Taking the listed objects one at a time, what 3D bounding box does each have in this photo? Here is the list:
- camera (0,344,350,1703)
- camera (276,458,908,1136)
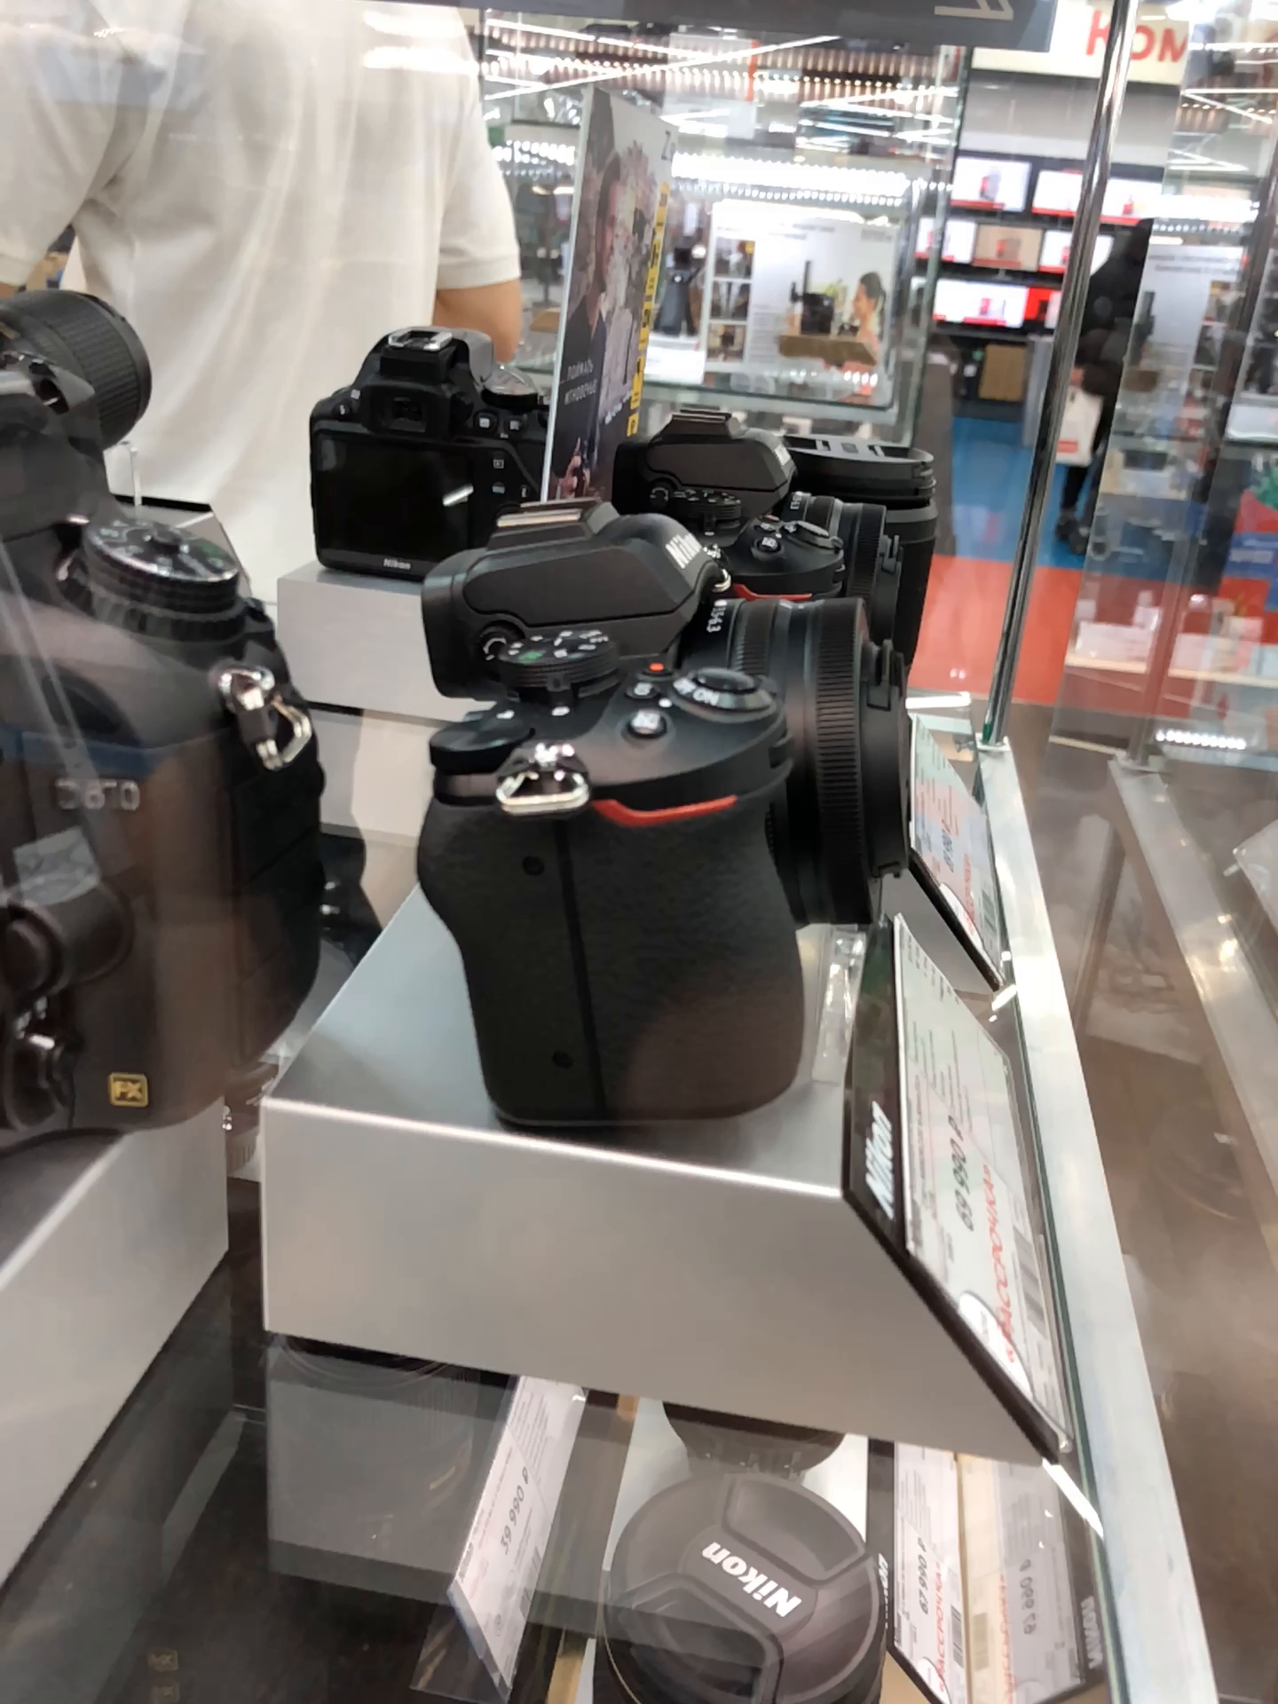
[{"bbox_3d":[-0.132,-0.004,0.195,0.129,0.112,0.150,9,20,9],"label":"camera"},{"bbox_3d":[0.005,-0.019,0.279,0.090,0.092,0.127,-3,21,11],"label":"camera"}]
